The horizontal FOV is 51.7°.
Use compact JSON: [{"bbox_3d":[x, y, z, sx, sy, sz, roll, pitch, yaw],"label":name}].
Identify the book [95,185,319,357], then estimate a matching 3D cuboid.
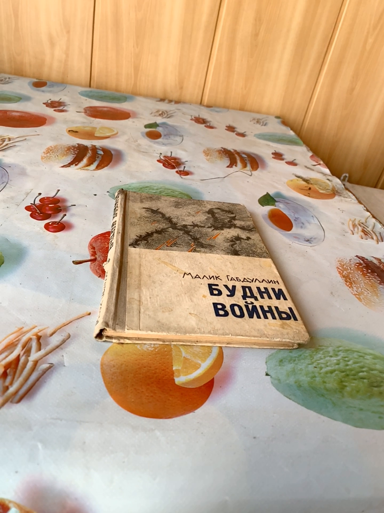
[{"bbox_3d":[0.001,-0.002,0.323,0.136,0.018,0.197,6,32,-11],"label":"book"}]
